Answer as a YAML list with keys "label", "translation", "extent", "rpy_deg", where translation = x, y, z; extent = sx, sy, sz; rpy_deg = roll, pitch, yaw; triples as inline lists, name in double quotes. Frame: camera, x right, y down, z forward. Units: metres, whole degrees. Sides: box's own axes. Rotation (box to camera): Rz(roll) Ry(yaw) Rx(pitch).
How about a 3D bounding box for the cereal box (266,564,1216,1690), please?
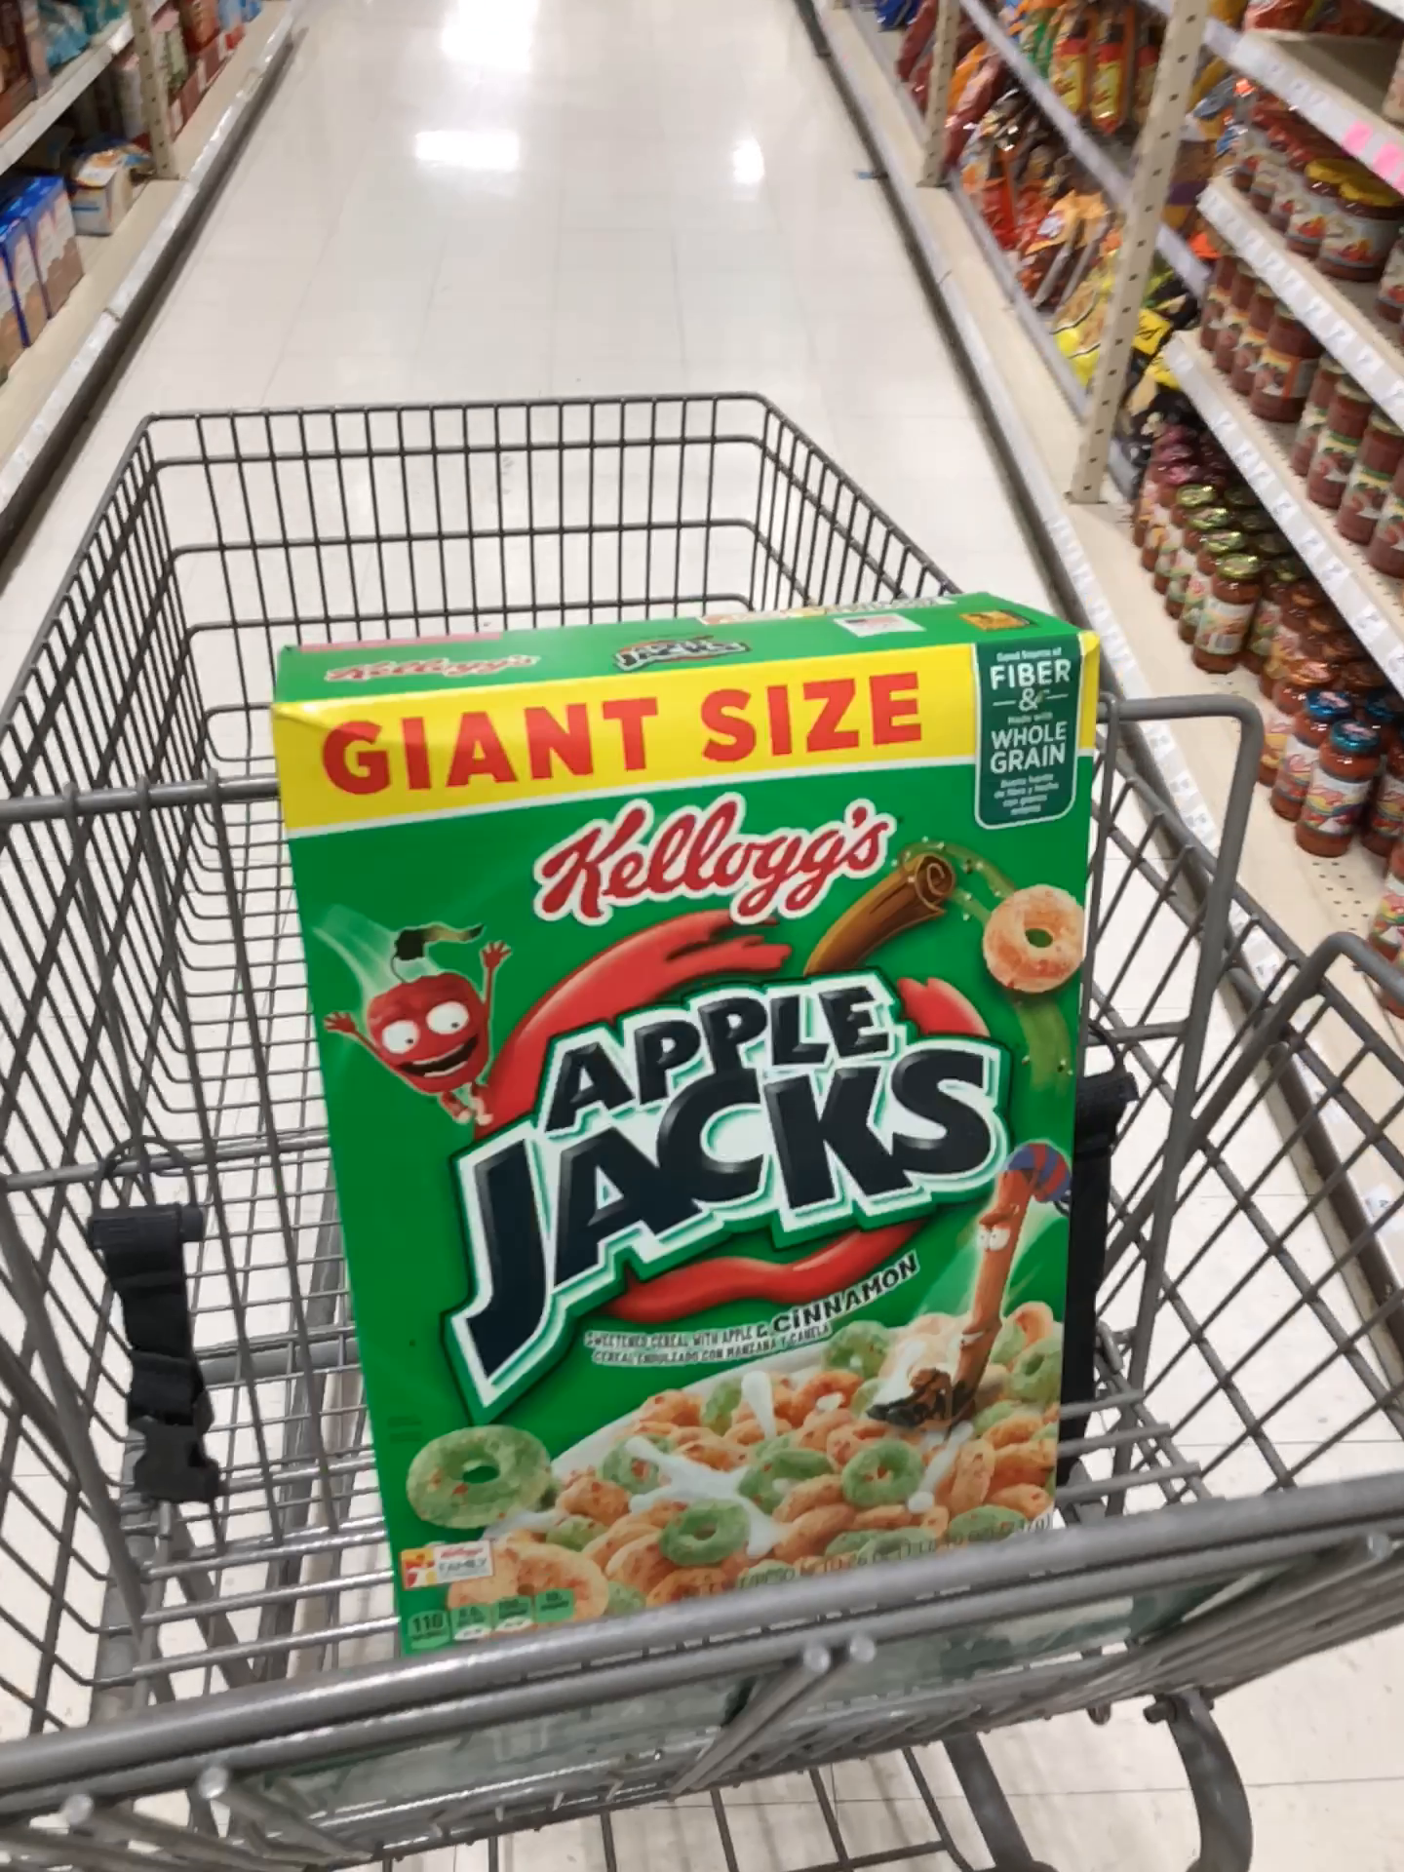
- label: "cereal box"
  translation: [0.015, 0.059, 0.494]
  extent: [0.250, 0.319, 0.090]
  rpy_deg: [-7, 22, -11]
